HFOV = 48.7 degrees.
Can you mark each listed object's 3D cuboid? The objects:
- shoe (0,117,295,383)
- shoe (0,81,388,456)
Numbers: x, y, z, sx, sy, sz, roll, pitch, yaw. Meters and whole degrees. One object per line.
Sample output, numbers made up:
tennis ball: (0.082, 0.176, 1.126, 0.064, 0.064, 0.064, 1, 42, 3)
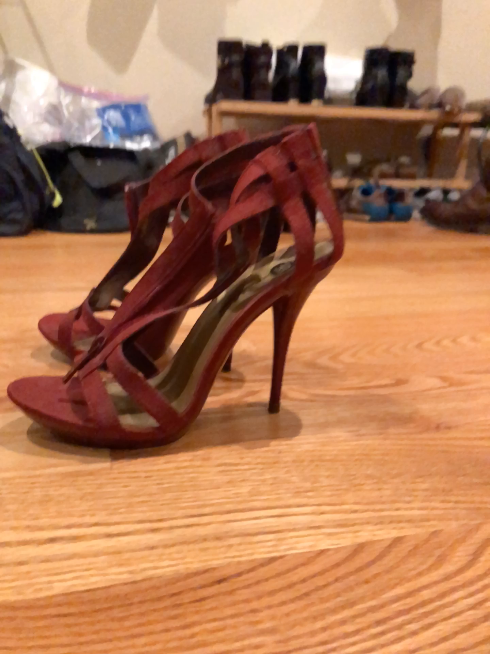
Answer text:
shoe: (-0.069, -0.064, 0.419, 0.199, 0.175, 0.085, 5, 17, 11)
shoe: (-0.038, -0.037, 0.317, 0.206, 0.175, 0.085, -3, 17, -15)
